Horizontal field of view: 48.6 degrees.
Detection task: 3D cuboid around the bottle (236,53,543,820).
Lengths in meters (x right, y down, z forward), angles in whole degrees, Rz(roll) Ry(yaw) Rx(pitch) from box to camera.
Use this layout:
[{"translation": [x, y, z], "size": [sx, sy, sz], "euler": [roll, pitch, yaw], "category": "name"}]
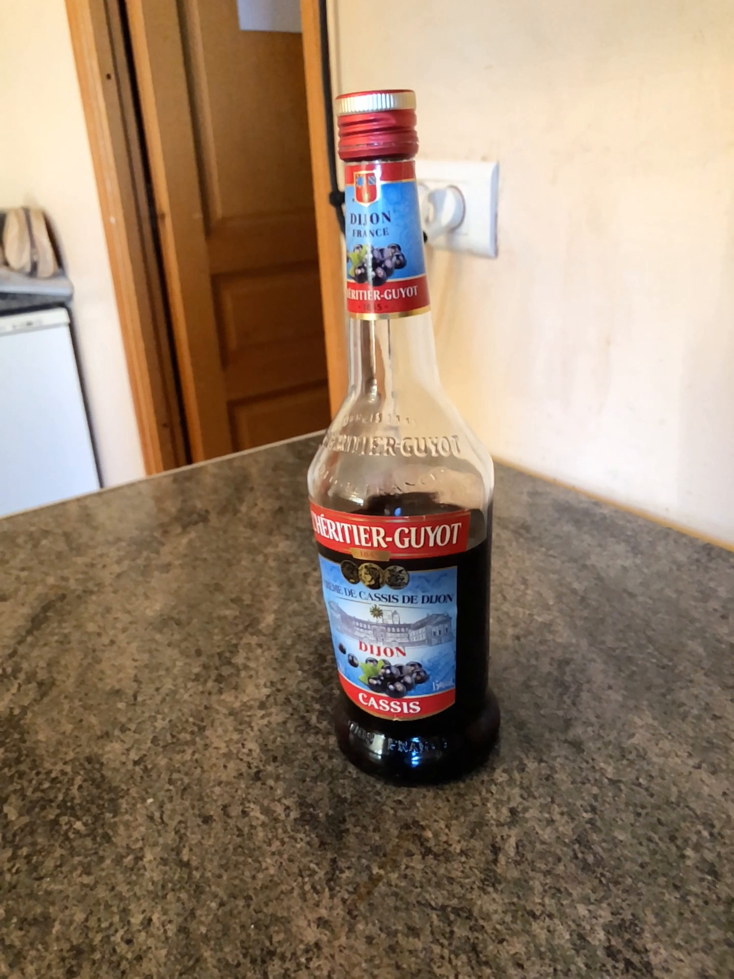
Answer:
[{"translation": [0.021, -0.015, 0.358], "size": [0.090, 0.299, 0.091], "euler": [-3, 21, 1], "category": "bottle"}]
